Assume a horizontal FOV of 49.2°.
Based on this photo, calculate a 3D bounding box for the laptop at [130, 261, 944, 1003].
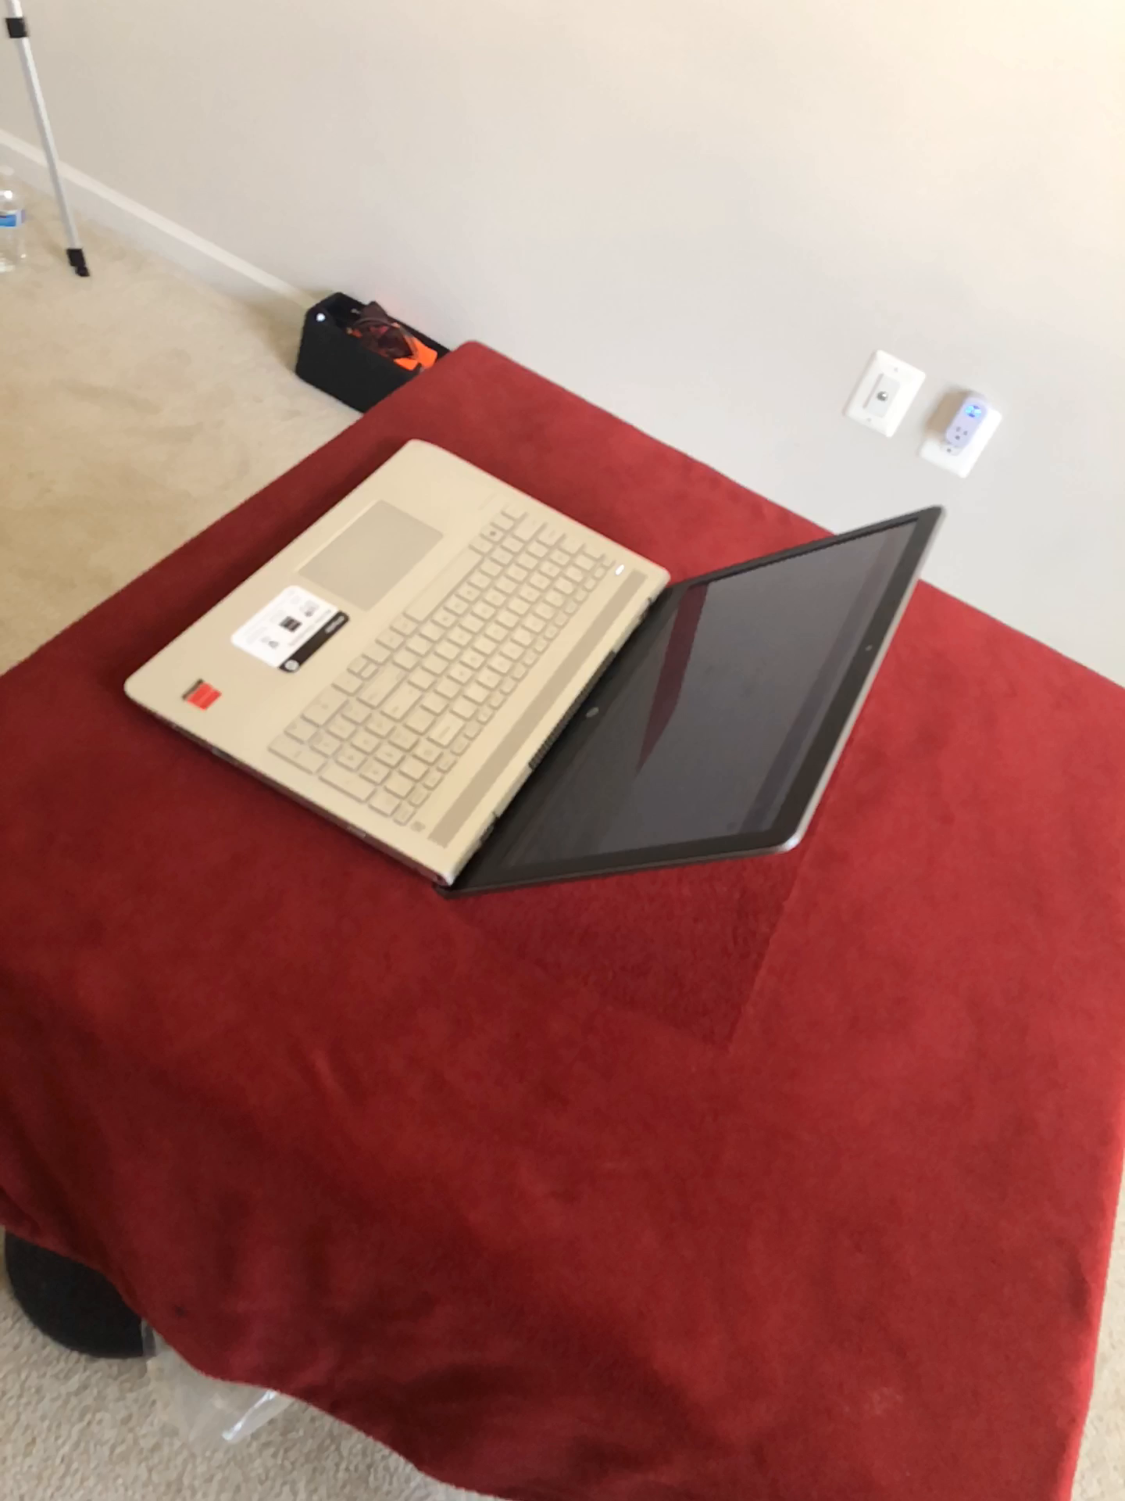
[{"bbox_3d":[-0.003,-0.106,0.813,0.395,0.158,0.361,29,46,7],"label":"laptop"}]
